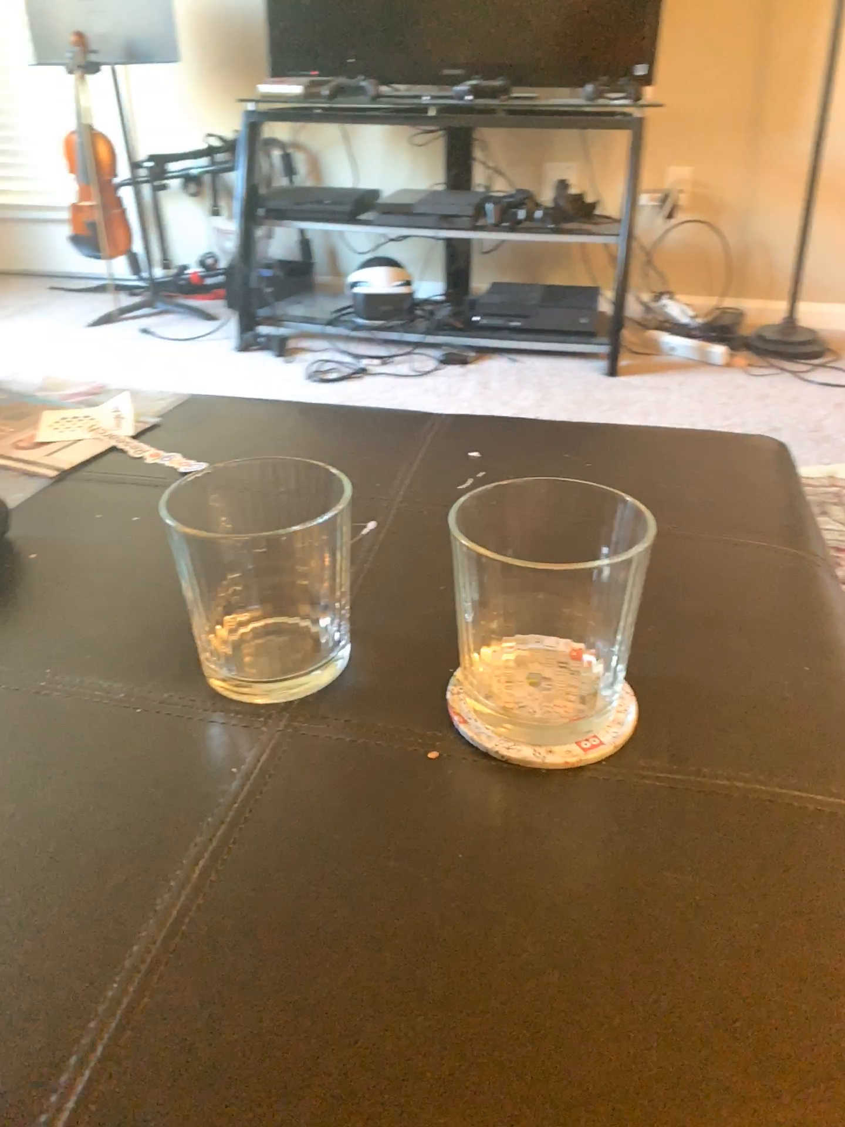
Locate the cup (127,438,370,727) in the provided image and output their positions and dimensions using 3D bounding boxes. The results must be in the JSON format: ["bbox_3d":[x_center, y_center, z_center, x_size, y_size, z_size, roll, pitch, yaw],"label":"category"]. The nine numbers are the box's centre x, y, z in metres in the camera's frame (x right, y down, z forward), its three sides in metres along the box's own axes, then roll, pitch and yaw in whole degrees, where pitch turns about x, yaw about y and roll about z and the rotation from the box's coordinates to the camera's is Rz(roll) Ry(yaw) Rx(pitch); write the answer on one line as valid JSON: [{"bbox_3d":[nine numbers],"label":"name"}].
[{"bbox_3d":[-0.084,0.005,0.433,0.080,0.099,0.080,0,30,0],"label":"cup"}]

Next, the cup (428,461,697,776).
[{"bbox_3d":[0.063,0.021,0.414,0.090,0.099,0.080,-23,37,-34],"label":"cup"}]
